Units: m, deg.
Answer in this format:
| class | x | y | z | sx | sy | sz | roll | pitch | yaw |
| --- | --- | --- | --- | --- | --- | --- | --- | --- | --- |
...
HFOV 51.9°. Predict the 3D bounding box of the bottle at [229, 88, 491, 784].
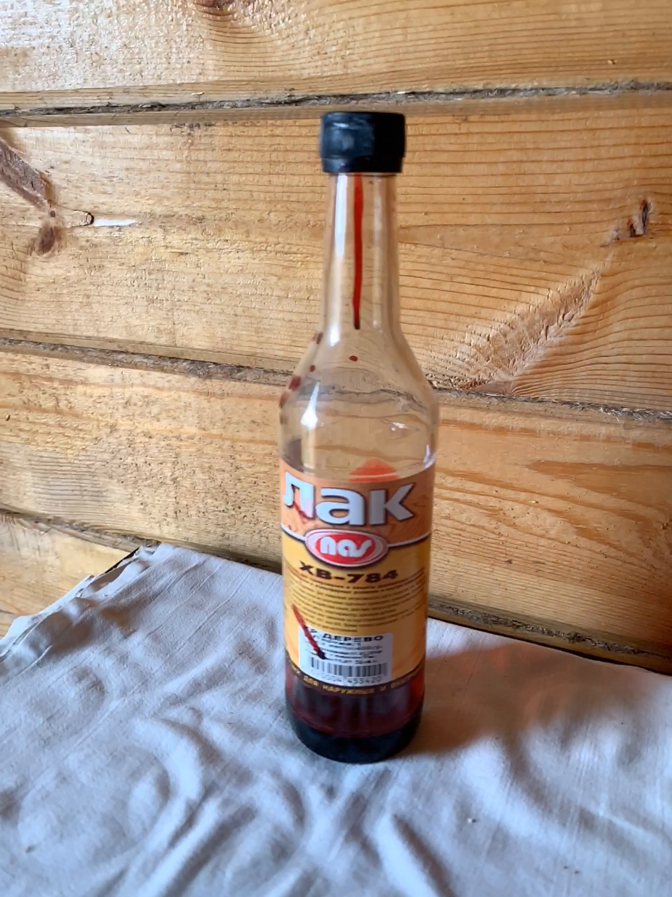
| class | x | y | z | sx | sy | sz | roll | pitch | yaw |
| --- | --- | --- | --- | --- | --- | --- | --- | --- | --- |
| bottle | 0.009 | 0.002 | 0.283 | 0.080 | 0.258 | 0.070 | 6 | 20 | 11 |
